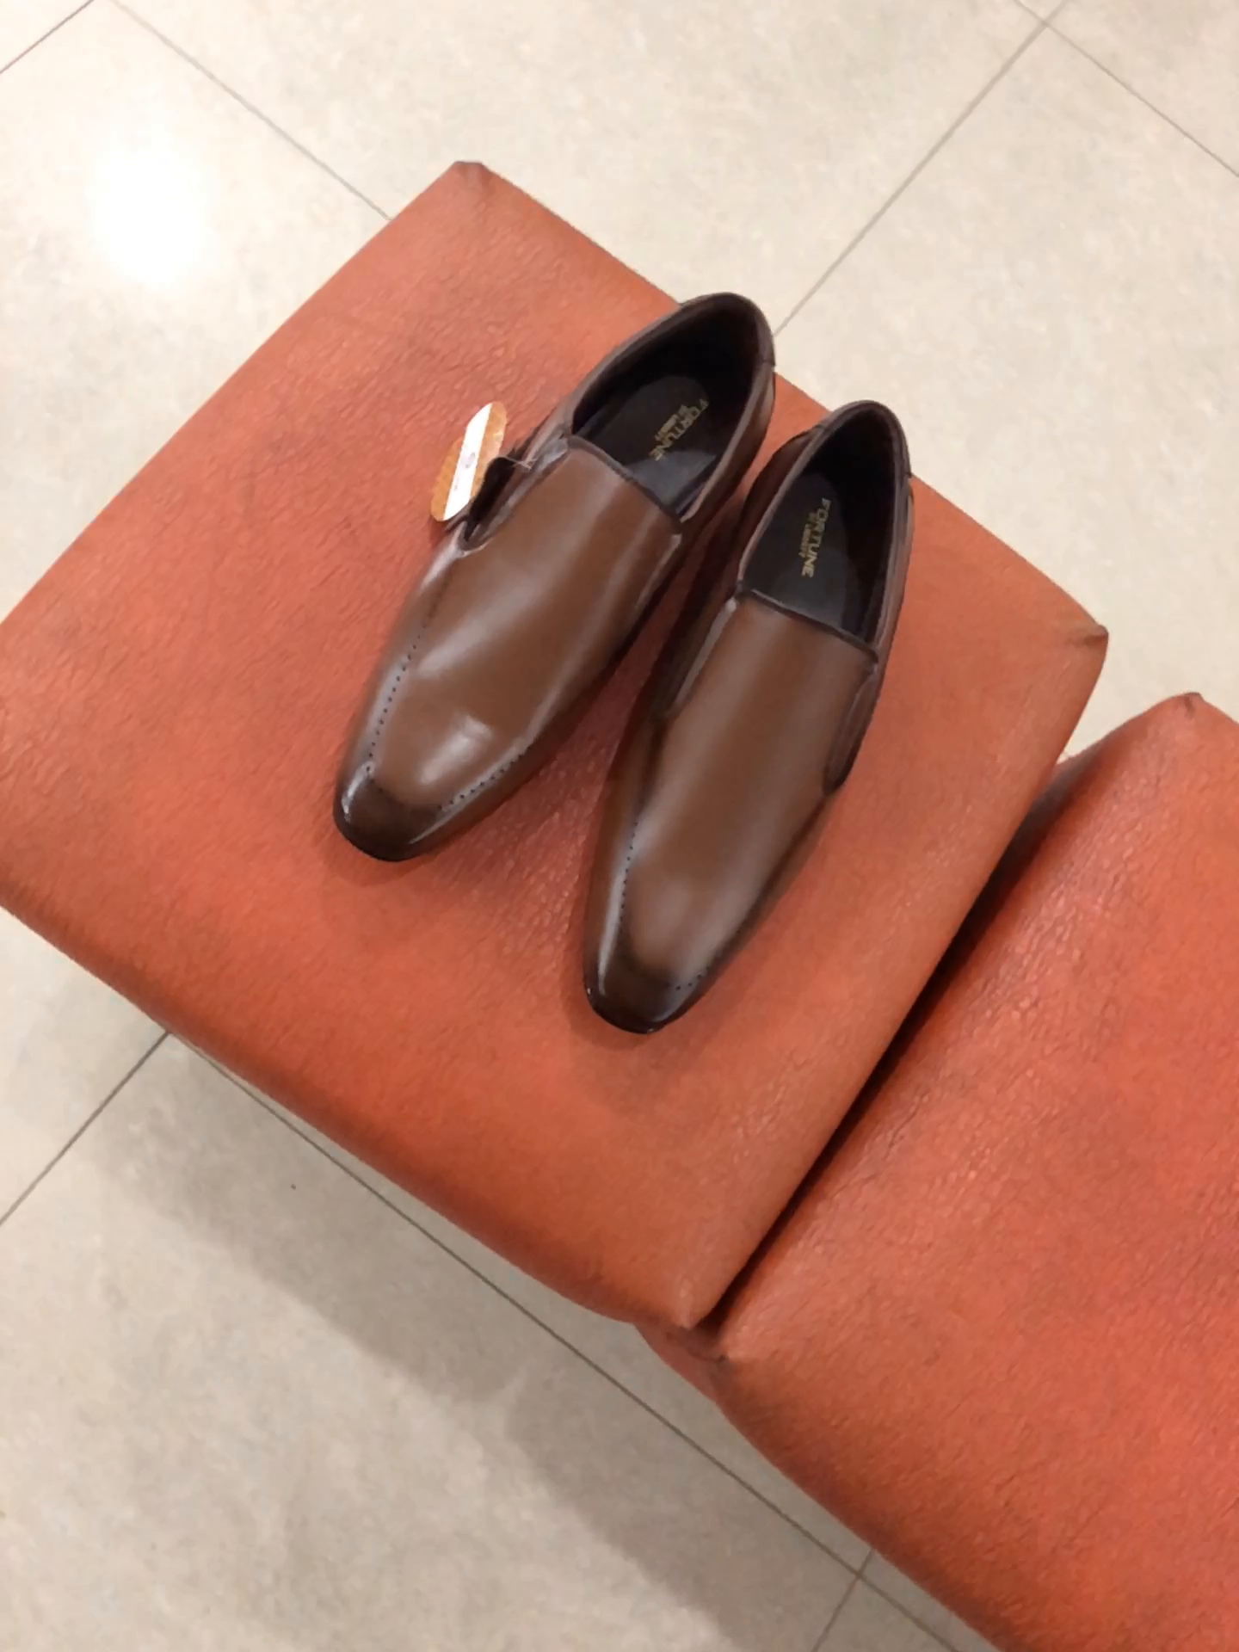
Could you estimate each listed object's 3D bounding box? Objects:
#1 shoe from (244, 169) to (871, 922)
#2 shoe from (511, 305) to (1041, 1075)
[{"bbox_3d":[-0.025,-0.116,0.591,0.099,0.128,0.293,34,72,-1],"label":"shoe"},{"bbox_3d":[0.066,-0.055,0.583,0.101,0.108,0.295,25,73,-4],"label":"shoe"}]
